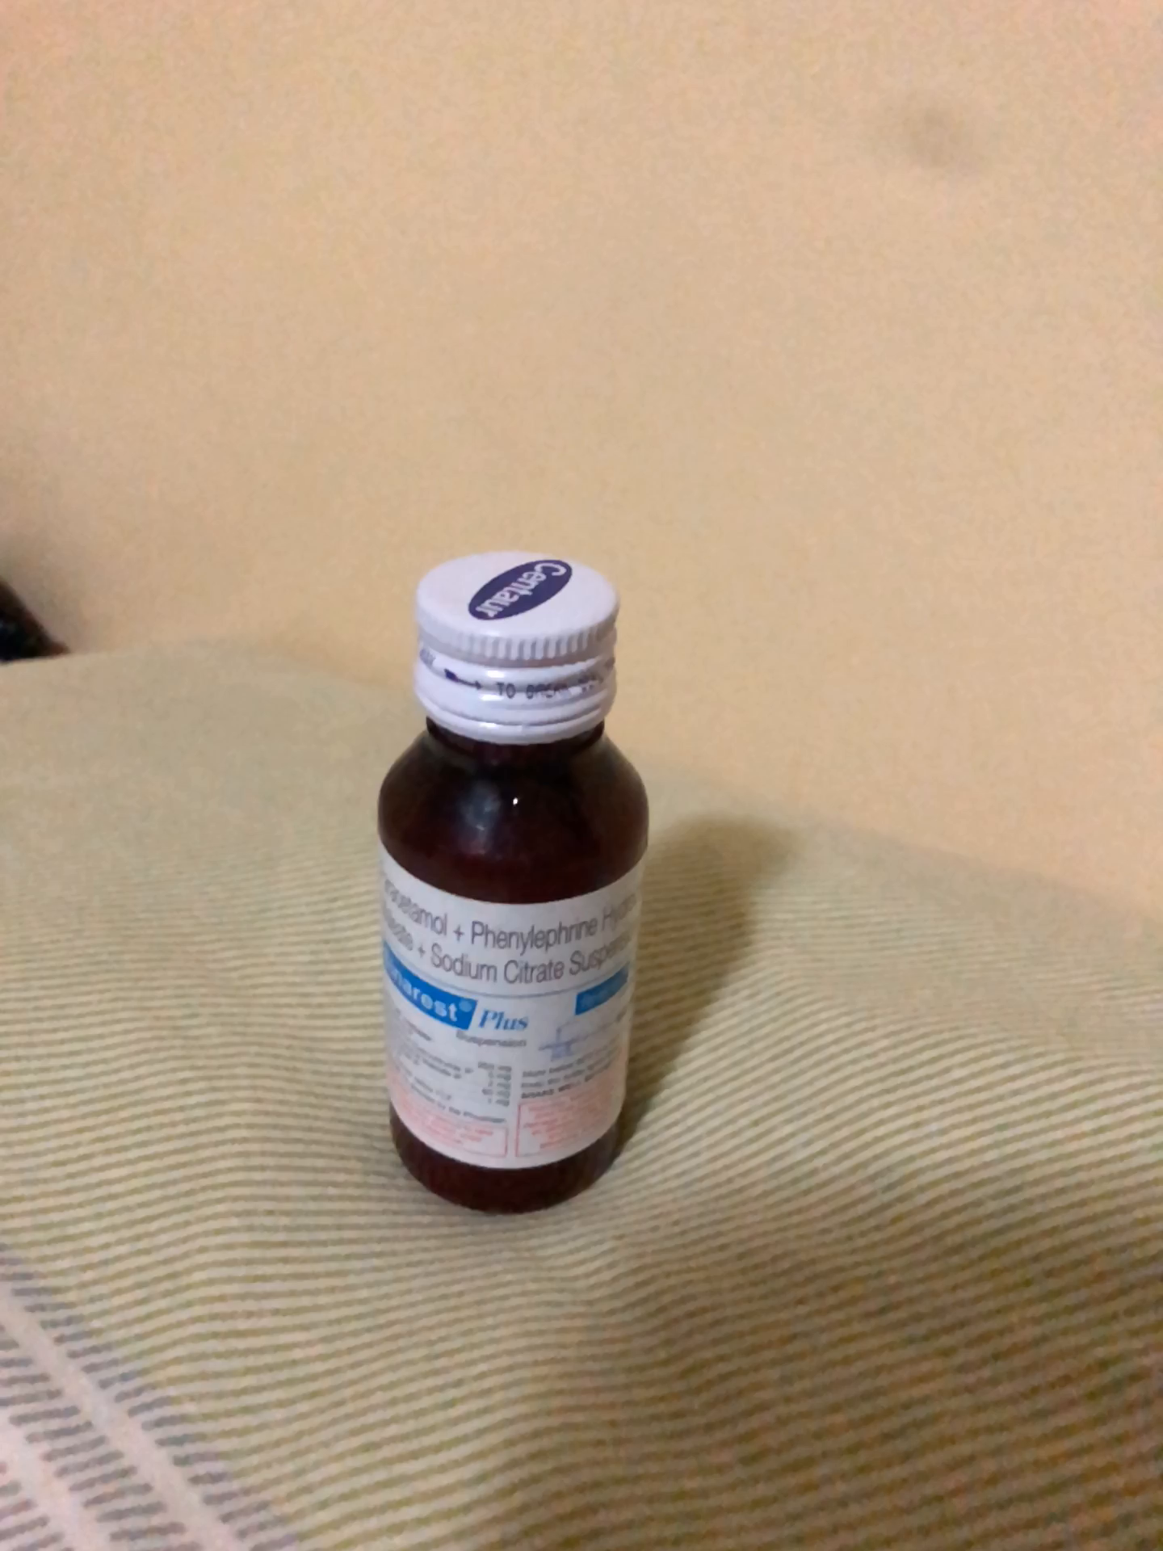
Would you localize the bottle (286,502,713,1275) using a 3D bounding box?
[{"bbox_3d":[-0.010,0.017,0.192,0.040,0.100,0.037,-1,31,0],"label":"bottle"}]
